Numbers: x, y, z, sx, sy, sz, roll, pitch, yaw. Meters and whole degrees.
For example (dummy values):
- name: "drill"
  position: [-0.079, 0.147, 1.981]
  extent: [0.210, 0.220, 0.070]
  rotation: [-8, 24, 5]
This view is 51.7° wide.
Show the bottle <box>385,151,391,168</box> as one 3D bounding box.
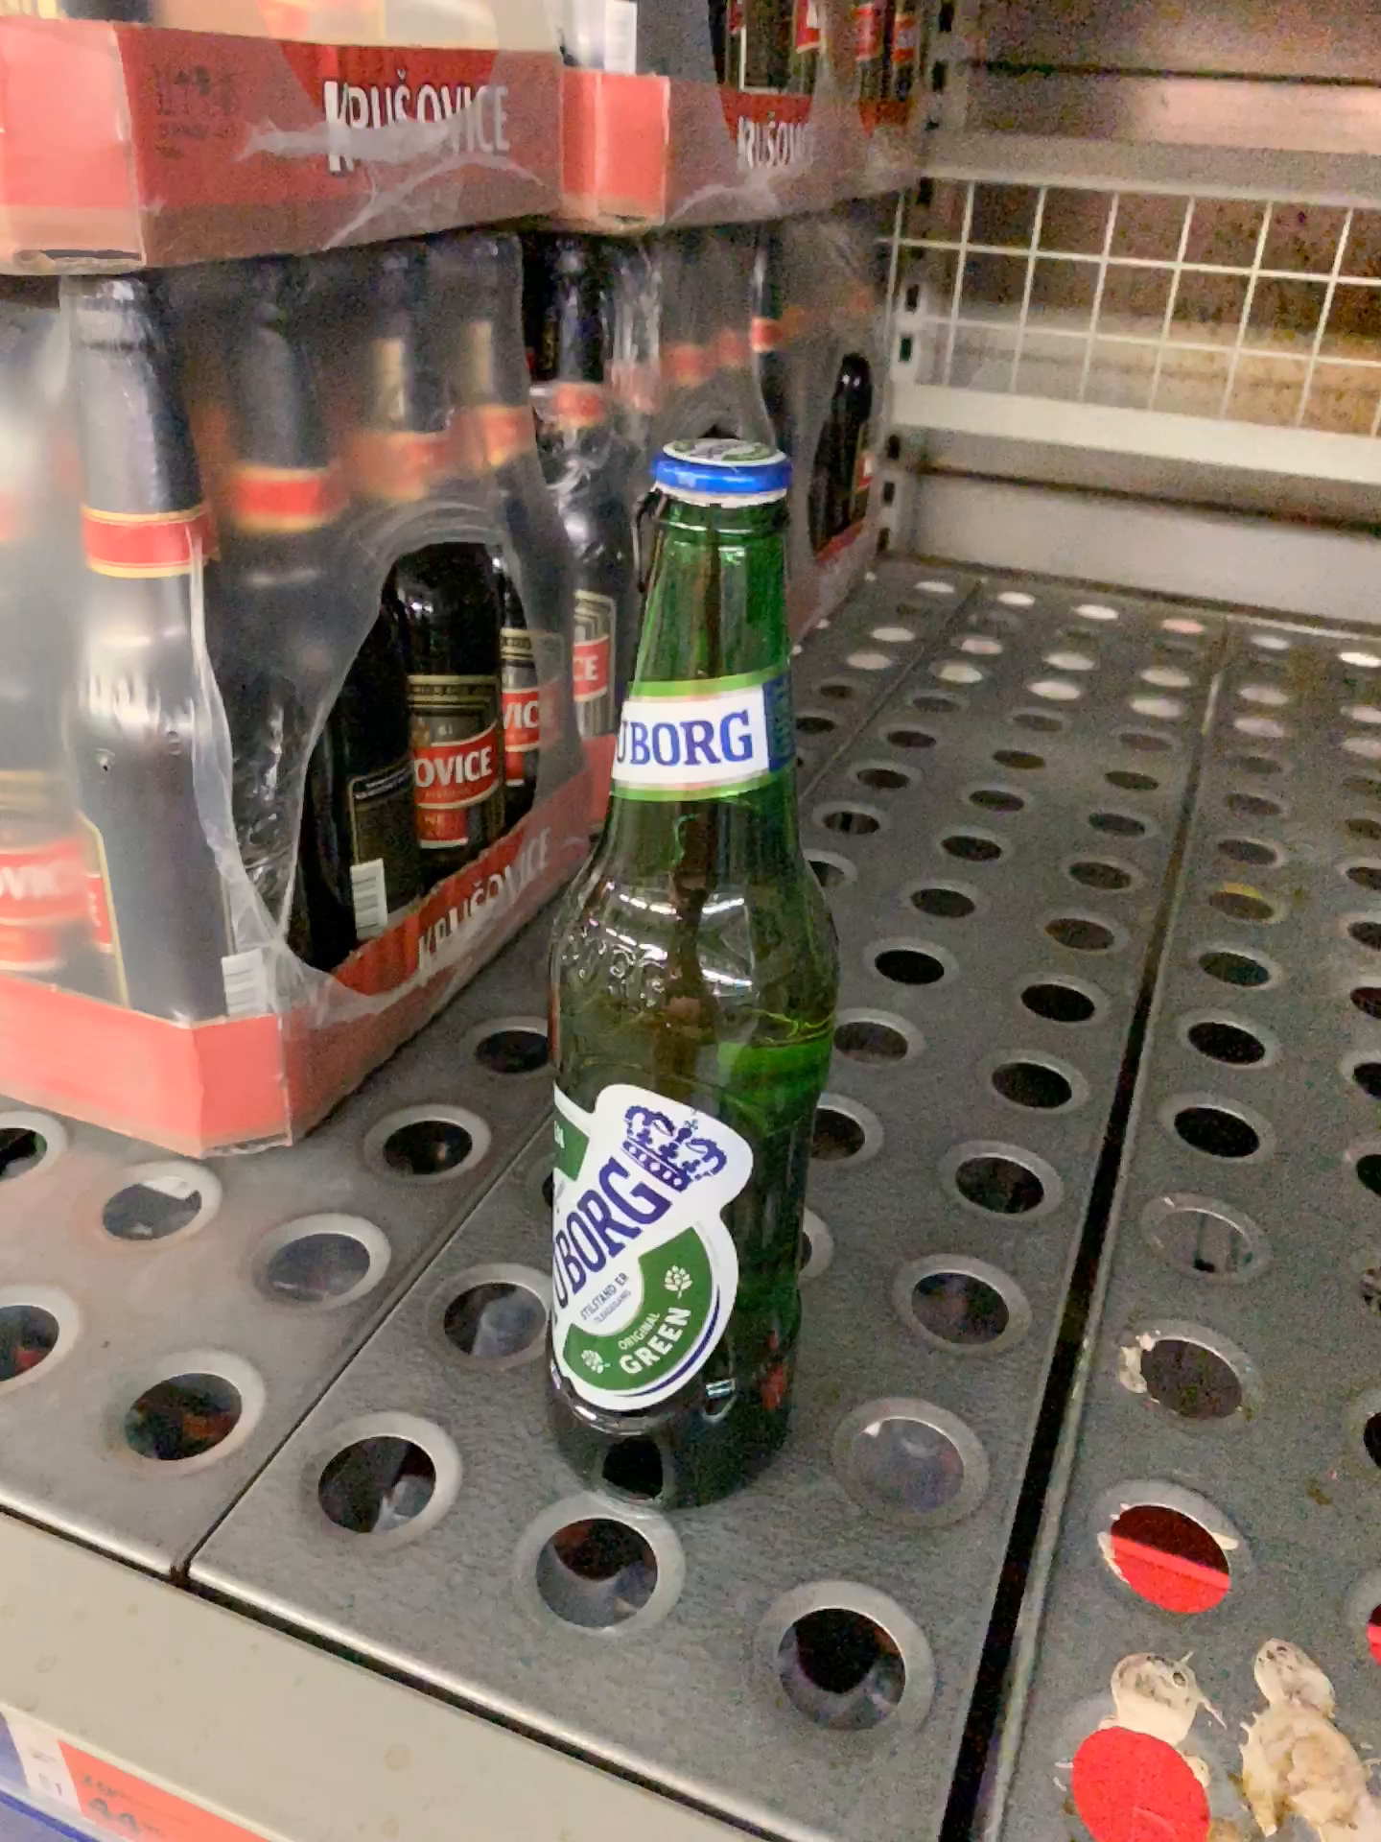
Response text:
- name: "bottle"
  position: [-3.624, -9.129, 17.106]
  extent: [0.052, 0.169, 0.050]
  rotation: [3, 29, -1]
